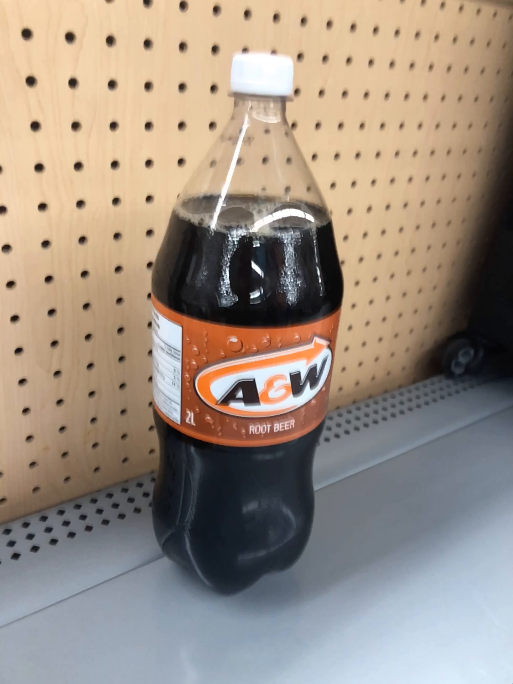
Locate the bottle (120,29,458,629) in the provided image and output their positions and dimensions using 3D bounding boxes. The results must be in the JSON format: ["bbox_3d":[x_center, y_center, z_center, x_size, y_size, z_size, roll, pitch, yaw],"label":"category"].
[{"bbox_3d":[-0.003,-0.004,0.336,0.120,0.308,0.121,3,26,-2],"label":"bottle"}]
